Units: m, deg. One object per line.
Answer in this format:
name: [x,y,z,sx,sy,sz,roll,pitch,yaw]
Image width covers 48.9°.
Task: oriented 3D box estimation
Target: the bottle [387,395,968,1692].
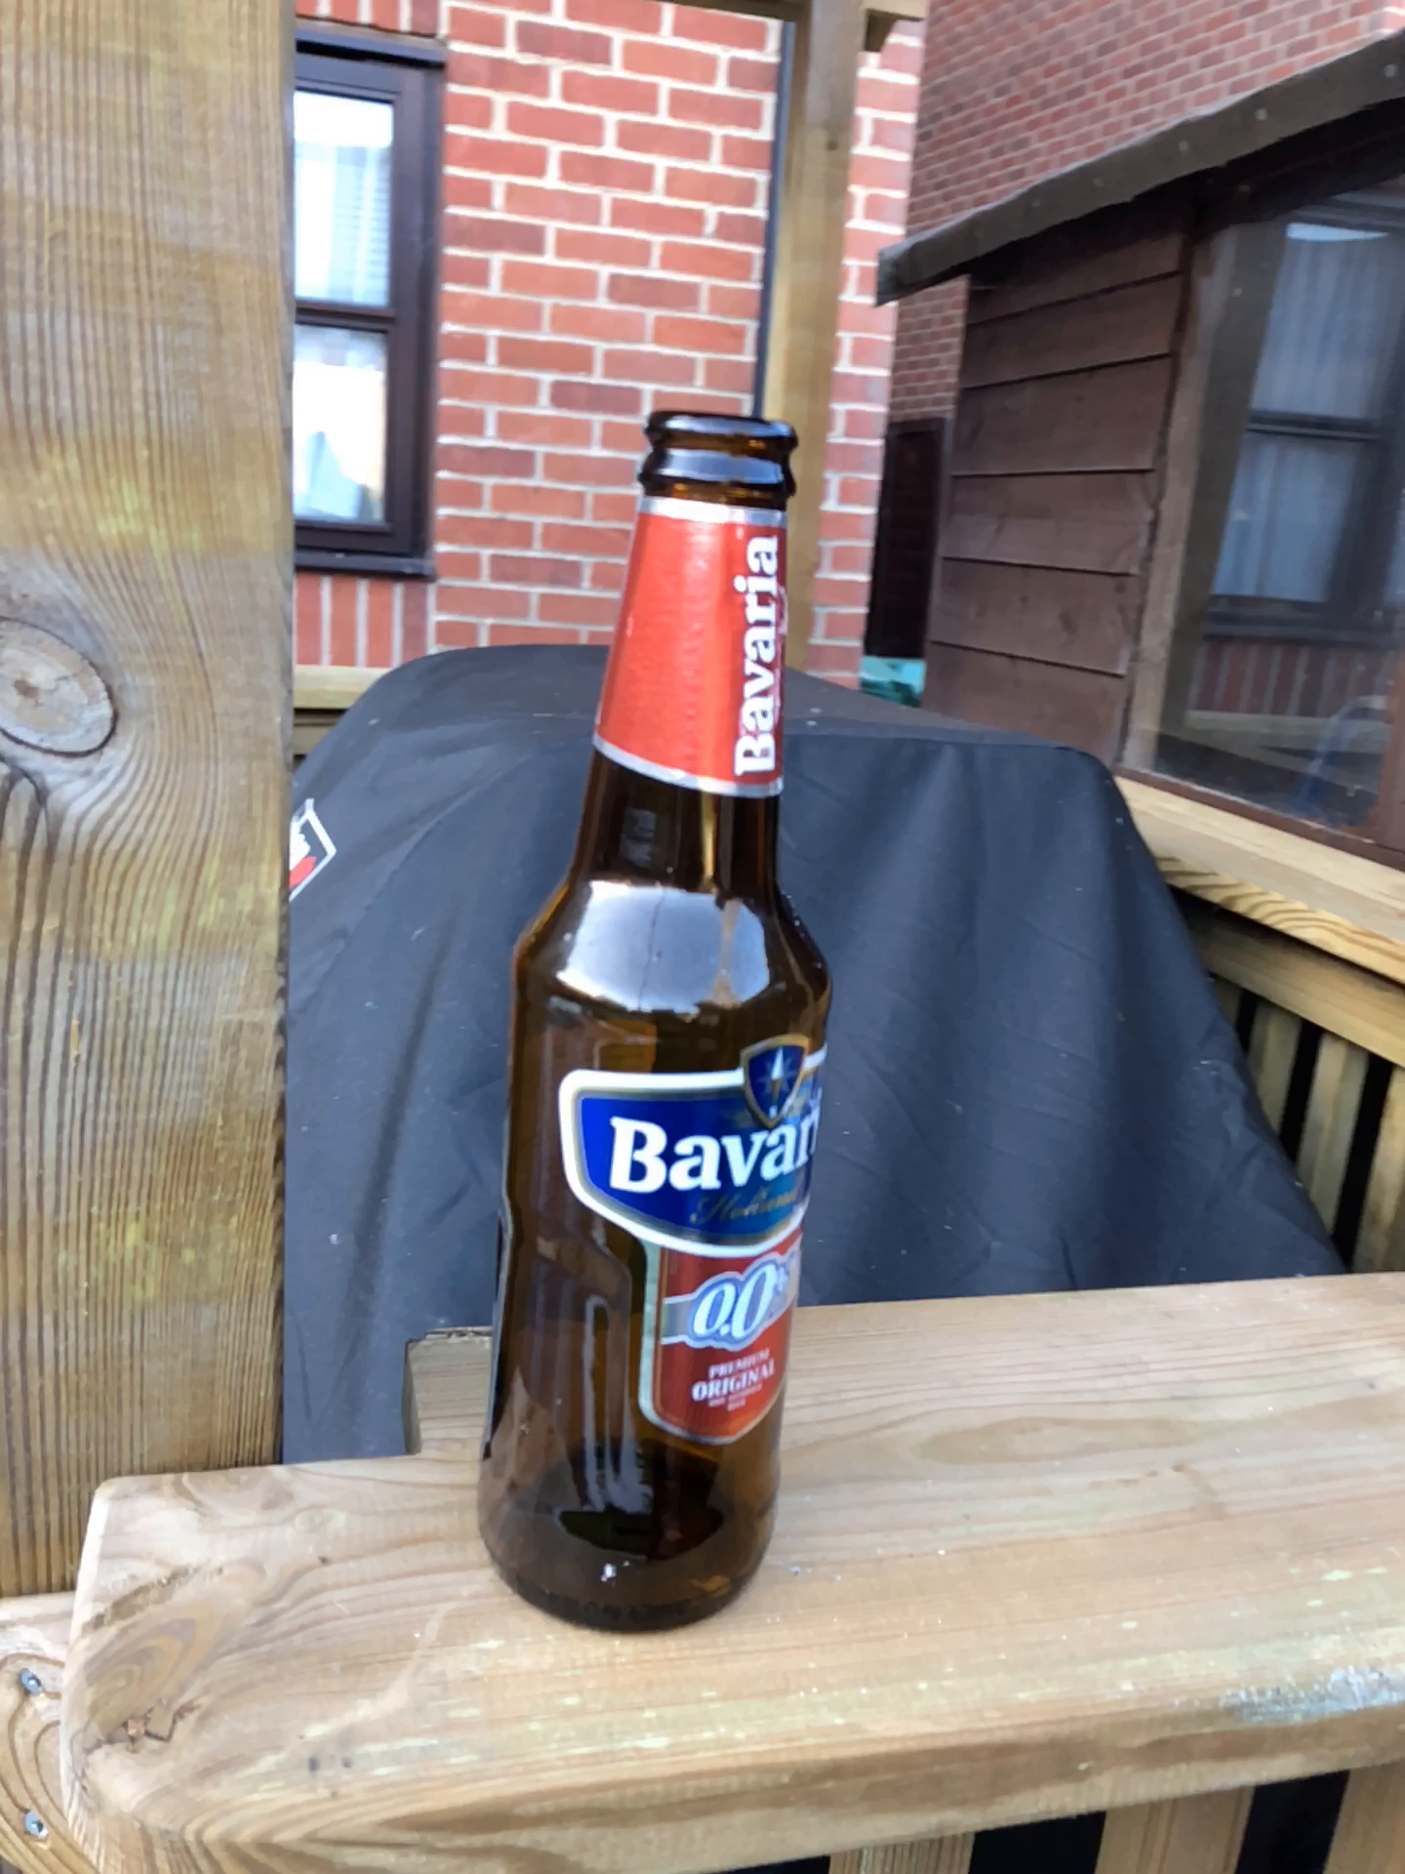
bottle: [-0.009,0.016,0.282,0.070,0.209,0.060,-6,17,-38]
